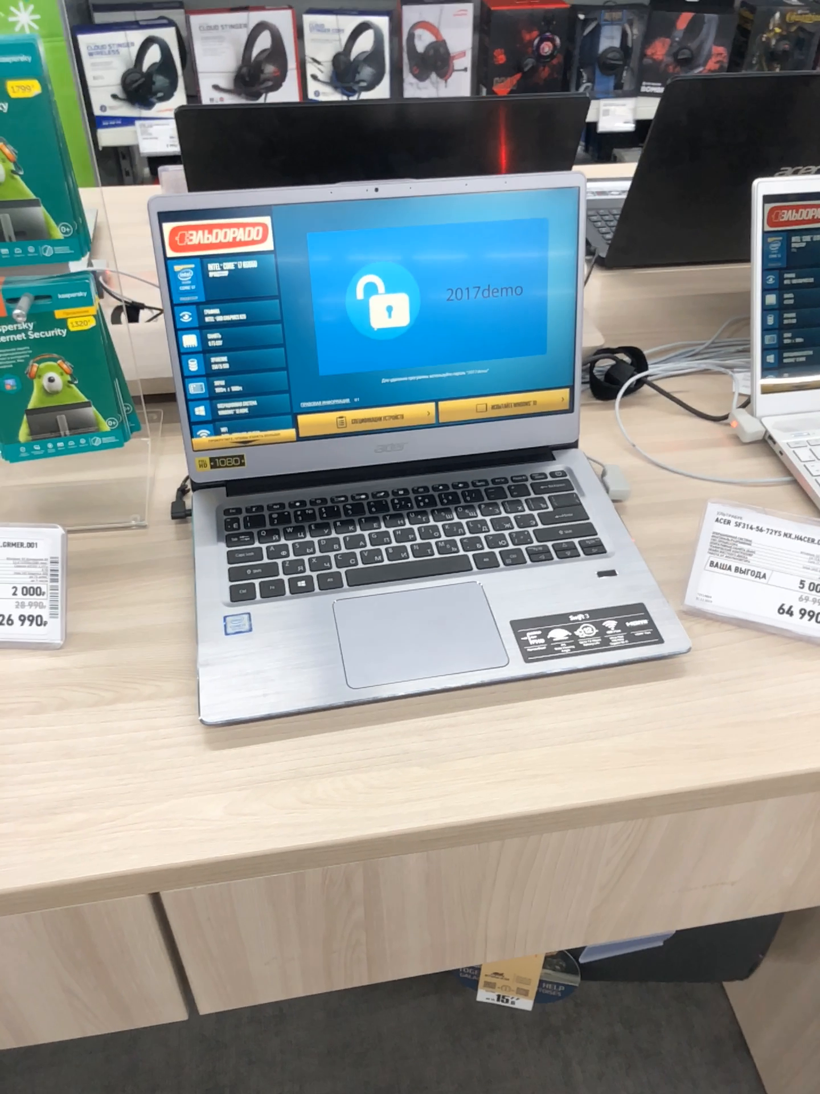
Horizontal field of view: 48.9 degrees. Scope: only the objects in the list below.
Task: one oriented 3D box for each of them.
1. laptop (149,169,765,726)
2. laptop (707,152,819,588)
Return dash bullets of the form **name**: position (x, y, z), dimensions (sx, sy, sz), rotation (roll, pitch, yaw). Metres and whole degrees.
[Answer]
- **laptop**: position (0.001, -0.089, 0.619), dimensions (0.315, 0.197, 0.304), rotation (-7, 44, -9)
- **laptop**: position (0.469, -0.163, 0.731), dimensions (0.305, 0.164, 0.323), rotation (-7, 45, -9)
